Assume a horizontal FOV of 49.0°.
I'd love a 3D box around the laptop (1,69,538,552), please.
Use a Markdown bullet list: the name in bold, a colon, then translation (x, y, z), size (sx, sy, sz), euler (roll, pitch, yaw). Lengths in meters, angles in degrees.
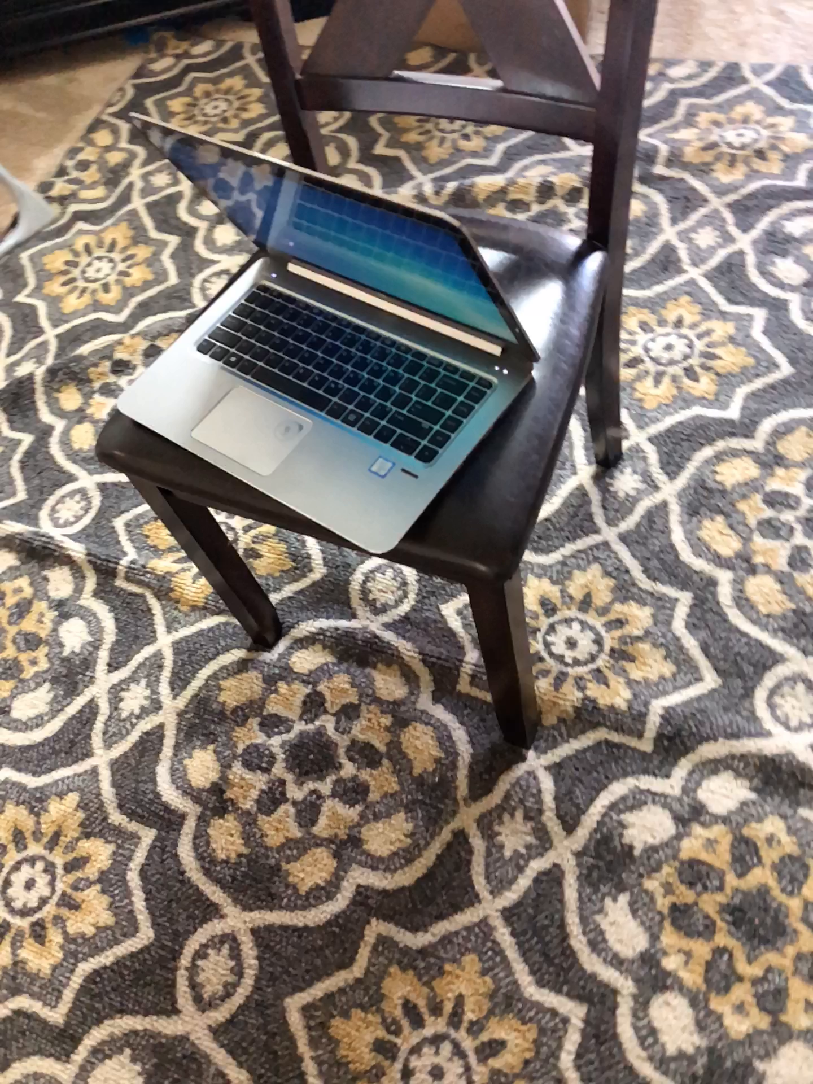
- **laptop**: translation (-0.095, -0.191, 0.712), size (0.323, 0.194, 0.211), euler (29, 68, 25)
